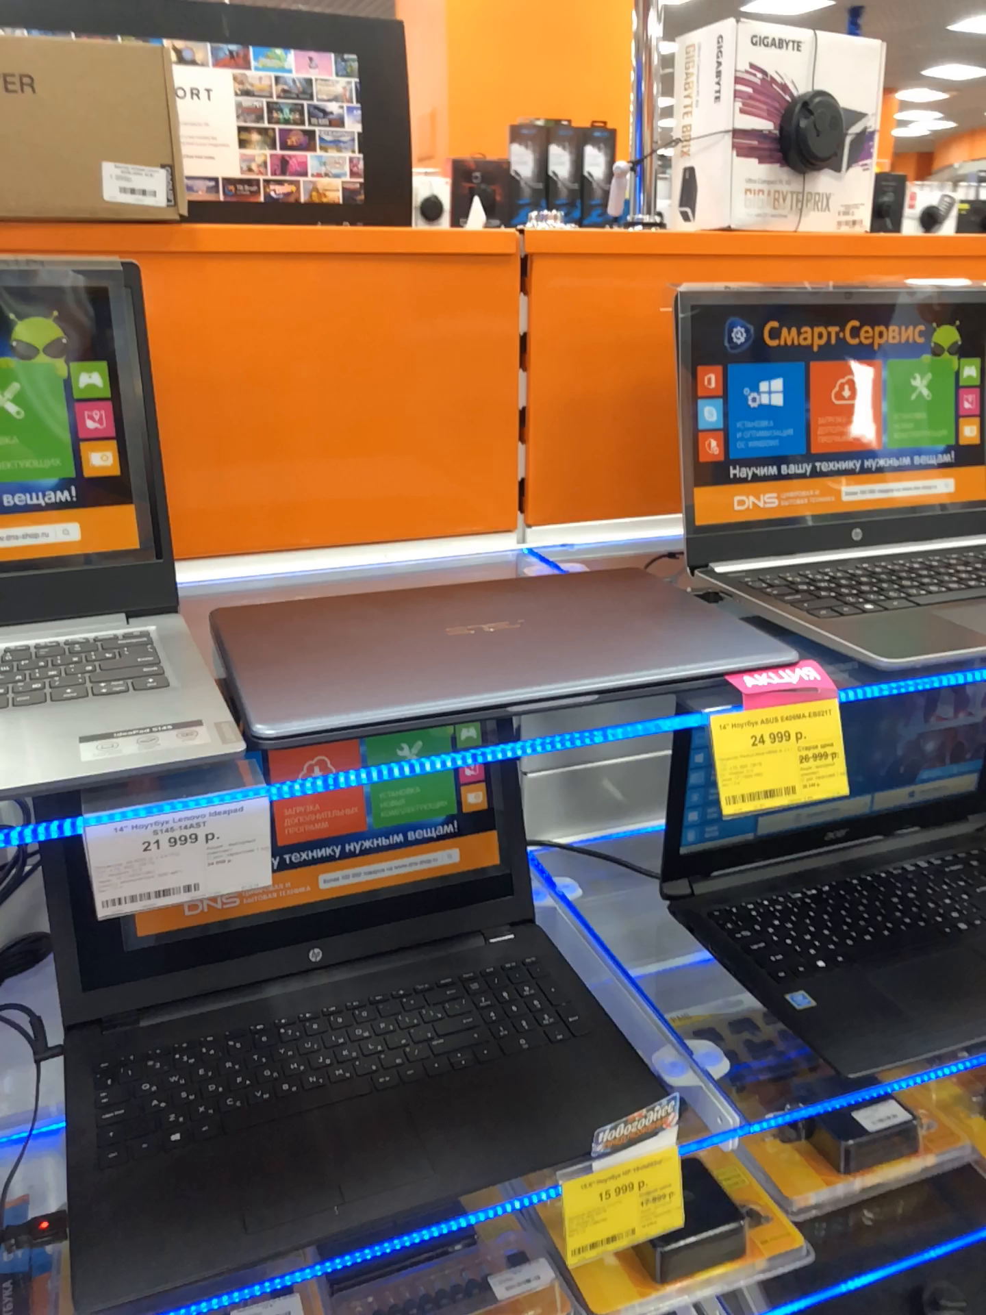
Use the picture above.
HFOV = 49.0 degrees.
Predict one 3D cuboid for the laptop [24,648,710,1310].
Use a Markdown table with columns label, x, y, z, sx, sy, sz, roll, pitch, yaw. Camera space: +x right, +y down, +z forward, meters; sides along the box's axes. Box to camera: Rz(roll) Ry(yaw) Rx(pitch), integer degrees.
| label | x | y | z | sx | sy | sz | roll | pitch | yaw |
| --- | --- | --- | --- | --- | --- | --- | --- | --- | --- |
| laptop | -0.102 | 0.174 | 0.754 | 0.377 | 0.227 | 0.313 | -8 | 21 | -19 |

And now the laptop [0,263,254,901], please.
| label | x | y | z | sx | sy | sz | roll | pitch | yaw |
| --- | --- | --- | --- | --- | --- | --- | --- | --- | --- |
| laptop | -0.341 | -0.083 | 0.558 | 0.353 | 0.225 | 0.290 | -8 | 22 | -21 |

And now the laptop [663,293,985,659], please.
| label | x | y | z | sx | sy | sz | roll | pitch | yaw |
| --- | --- | --- | --- | --- | --- | --- | --- | --- | --- |
| laptop | 0.348 | -0.157 | 0.806 | 0.336 | 0.205 | 0.272 | -7 | 21 | -21 |

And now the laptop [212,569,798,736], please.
| label | x | y | z | sx | sy | sz | roll | pitch | yaw |
| --- | --- | --- | --- | --- | --- | --- | --- | --- | --- |
| laptop | -0.004 | -0.015 | 0.697 | 0.324 | 0.001 | 0.214 | -7 | 21 | -19 |
